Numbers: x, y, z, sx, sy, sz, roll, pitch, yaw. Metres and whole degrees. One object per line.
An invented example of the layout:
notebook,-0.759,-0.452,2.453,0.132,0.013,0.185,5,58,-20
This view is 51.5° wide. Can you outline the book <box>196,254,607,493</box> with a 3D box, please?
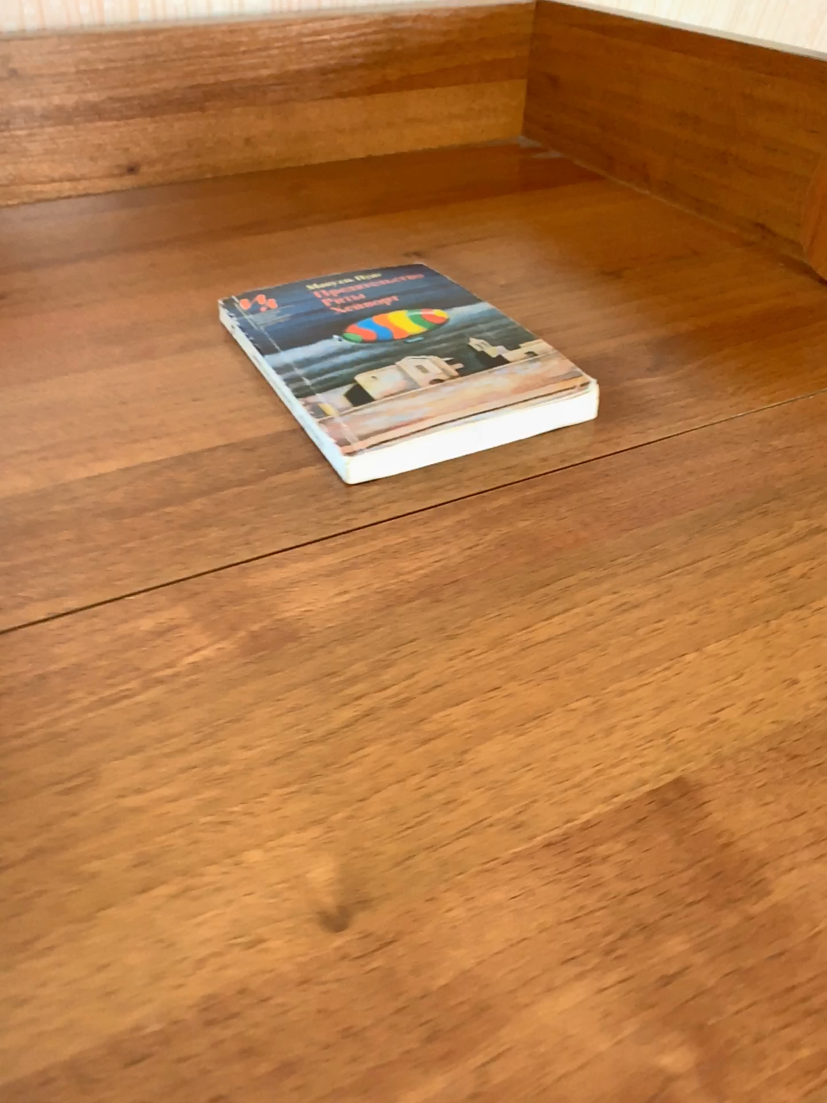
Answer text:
book,-0.013,-0.088,0.377,0.121,0.016,0.158,-17,42,-22
